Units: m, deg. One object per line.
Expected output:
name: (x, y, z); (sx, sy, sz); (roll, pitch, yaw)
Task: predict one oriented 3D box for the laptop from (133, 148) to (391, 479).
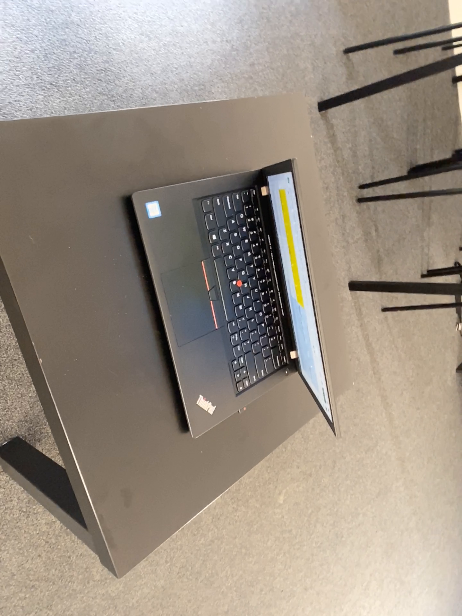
laptop: (0.054, -0.007, 0.610); (0.224, 0.165, 0.332); (-24, 109, -38)
